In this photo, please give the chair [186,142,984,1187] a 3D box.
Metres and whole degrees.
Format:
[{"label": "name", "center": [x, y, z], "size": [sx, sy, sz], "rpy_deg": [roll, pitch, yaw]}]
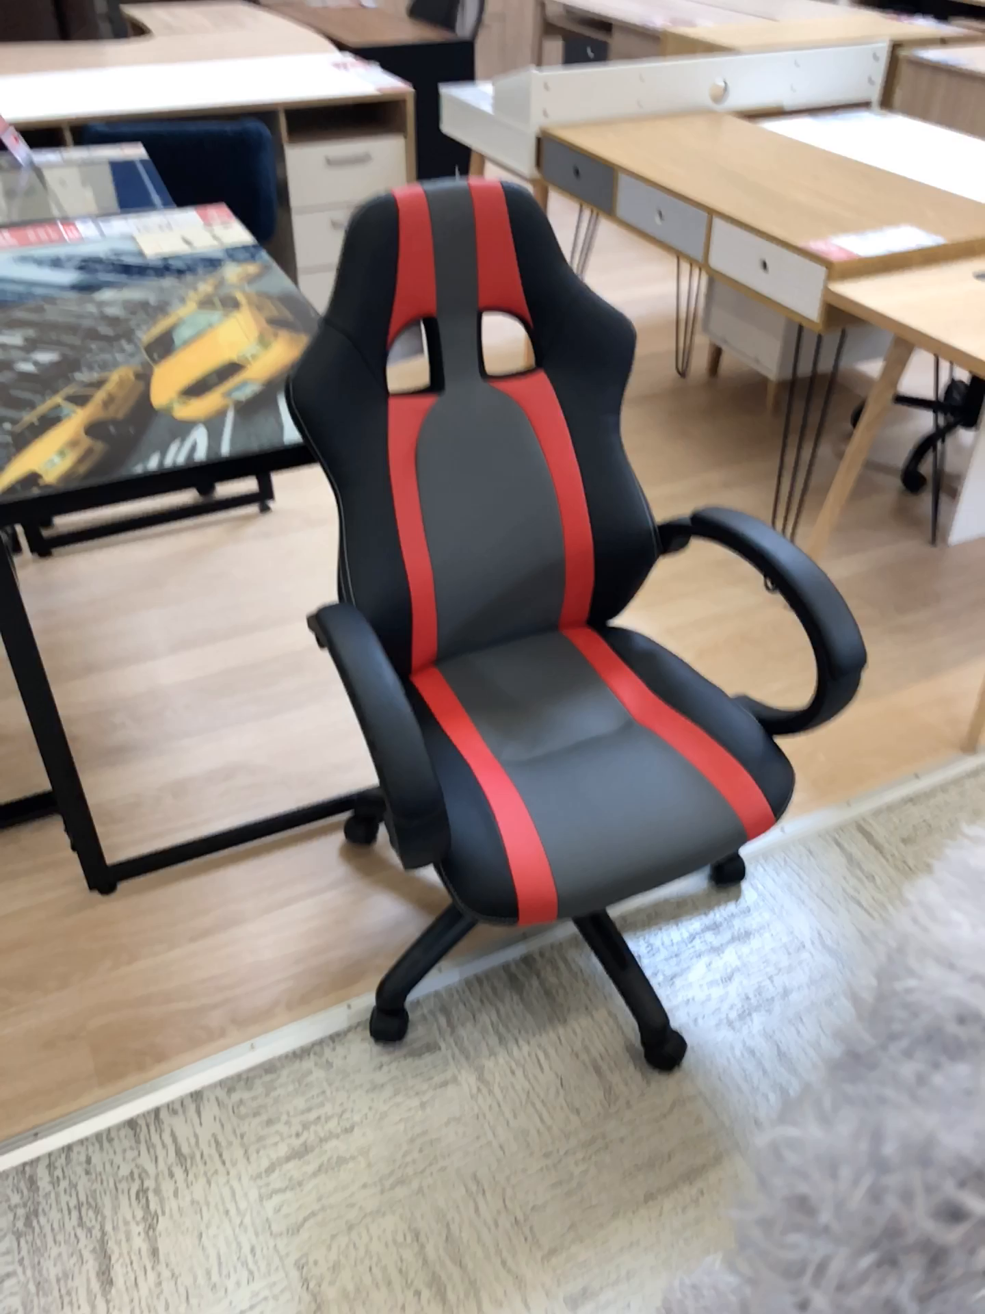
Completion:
[{"label": "chair", "center": [0.118, -0.037, 1.339], "size": [0.692, 0.925, 0.692], "rpy_deg": [-16, 39, -20]}]
